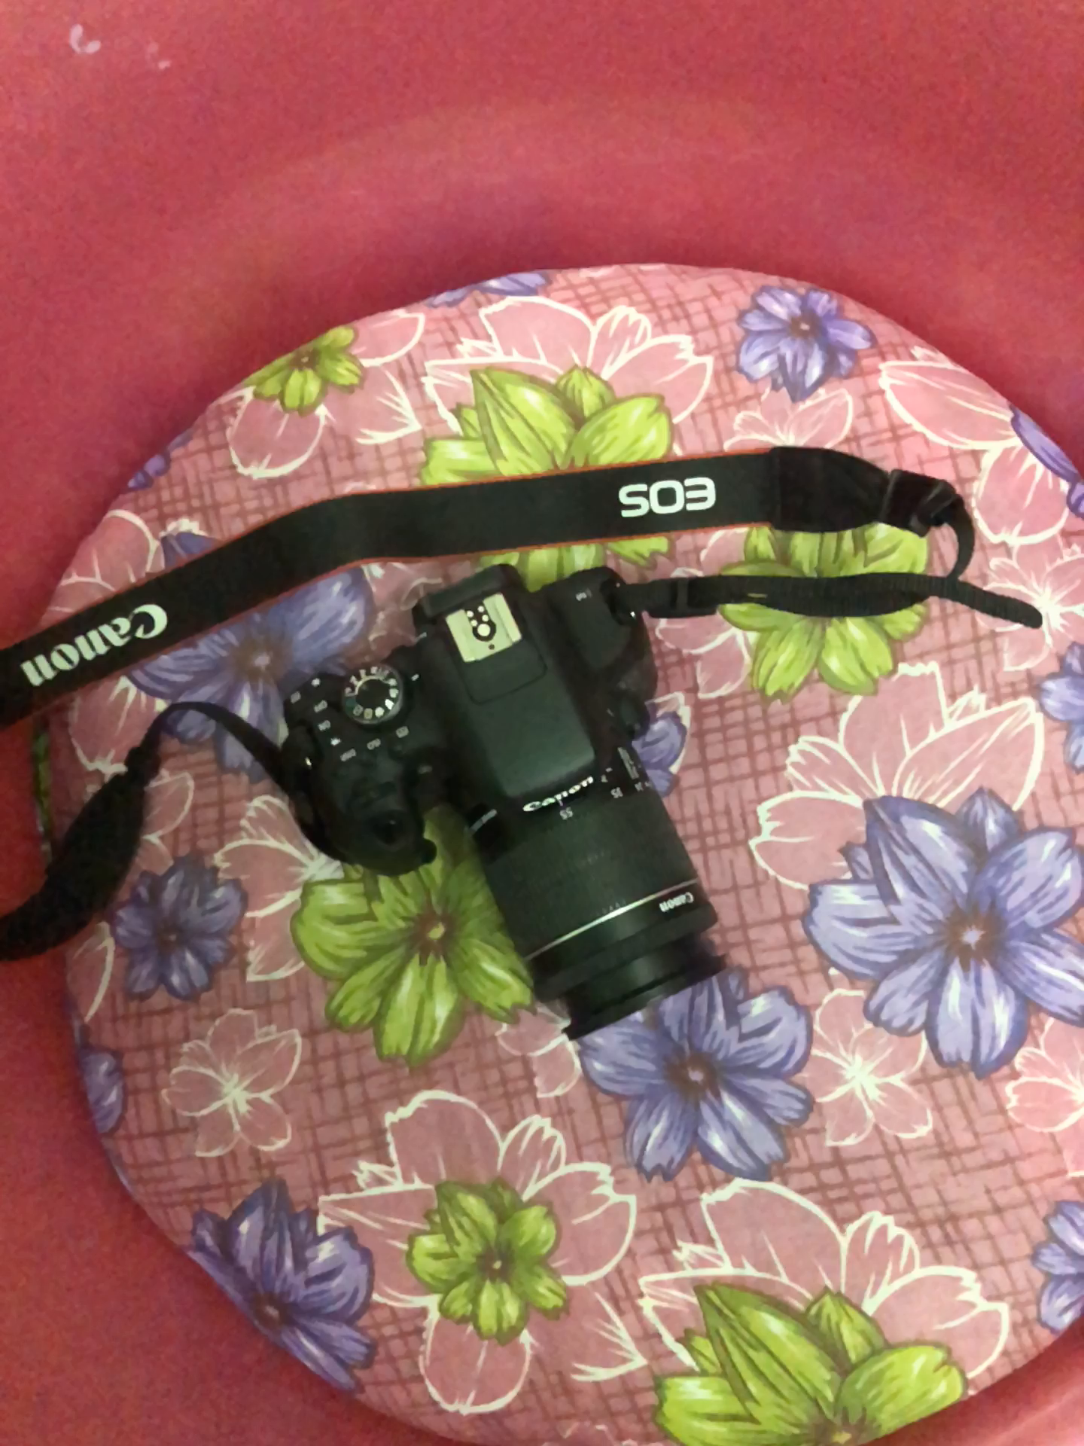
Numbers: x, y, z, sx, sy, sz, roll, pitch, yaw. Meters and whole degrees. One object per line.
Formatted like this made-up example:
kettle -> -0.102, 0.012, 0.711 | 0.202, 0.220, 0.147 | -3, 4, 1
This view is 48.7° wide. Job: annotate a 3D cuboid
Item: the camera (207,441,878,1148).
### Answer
camera -> -0.001, 0.024, 0.391 | 0.140, 0.100, 0.160 | -23, 80, -2
